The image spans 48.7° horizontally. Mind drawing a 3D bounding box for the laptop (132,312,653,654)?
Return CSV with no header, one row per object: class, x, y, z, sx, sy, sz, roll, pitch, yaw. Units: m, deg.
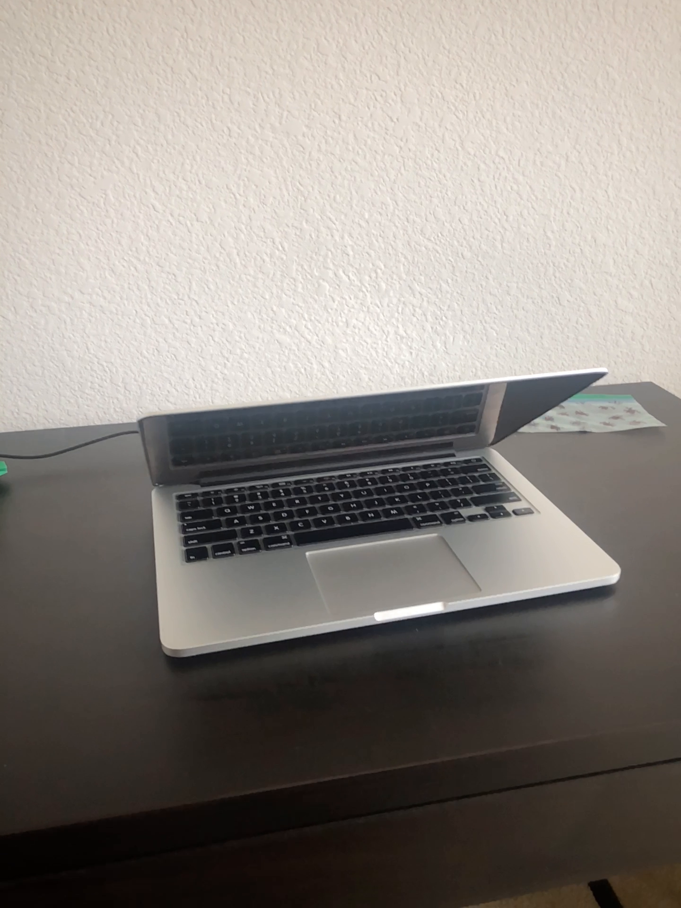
laptop,0.015,-0.003,0.550,0.309,0.133,0.225,-6,24,-13
